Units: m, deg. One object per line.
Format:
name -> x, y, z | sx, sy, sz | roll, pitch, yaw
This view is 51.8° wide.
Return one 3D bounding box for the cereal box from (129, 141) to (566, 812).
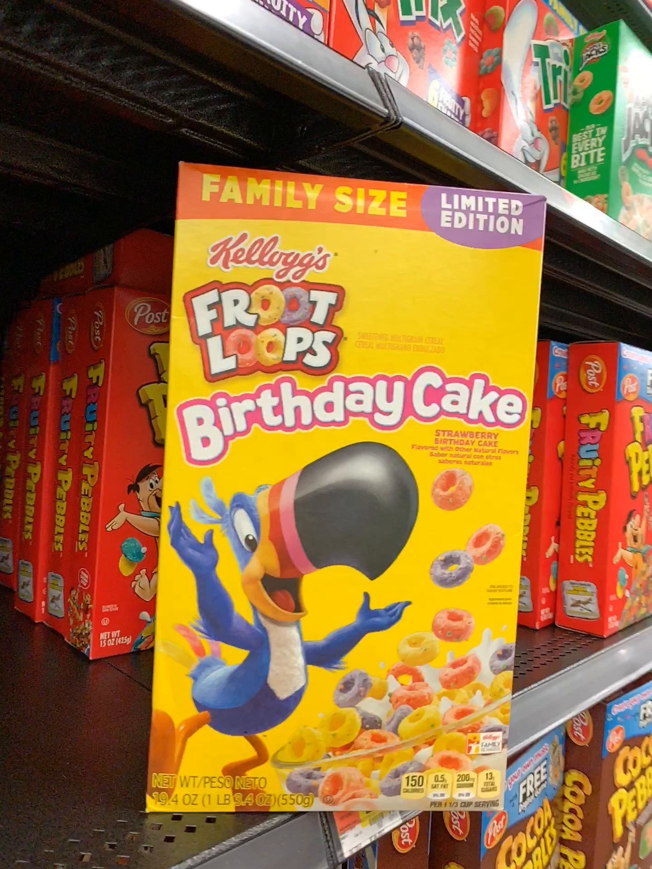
cereal box -> 0.009, 0.027, 0.382 | 0.200, 0.330, 0.080 | 4, 1, -7
